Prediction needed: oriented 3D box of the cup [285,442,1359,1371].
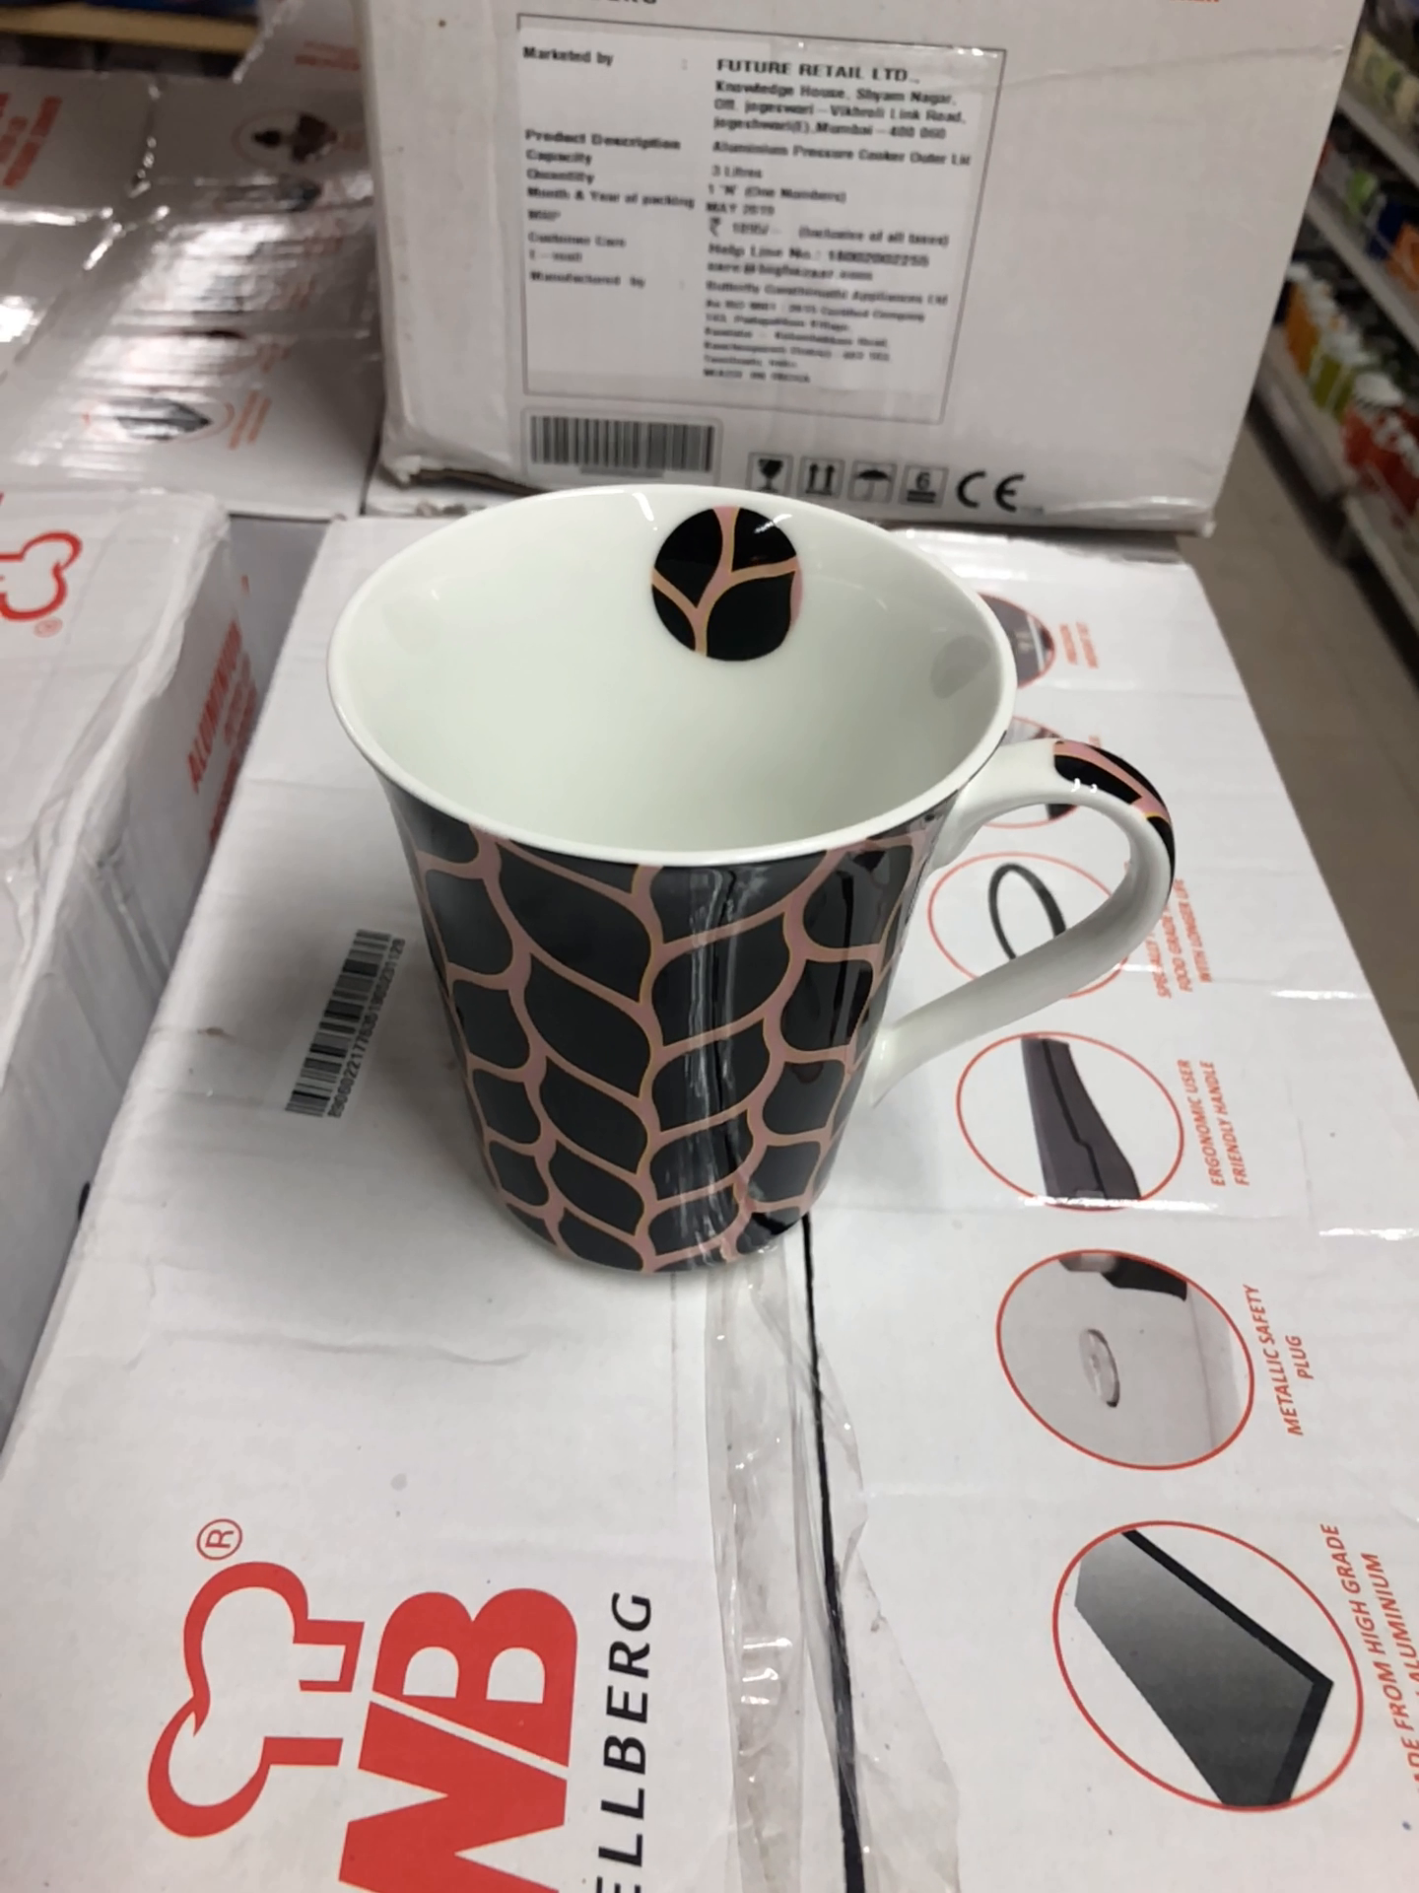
[{"bbox_3d":[0.008,-0.005,0.221,0.110,0.089,0.081,5,42,-4],"label":"cup"}]
